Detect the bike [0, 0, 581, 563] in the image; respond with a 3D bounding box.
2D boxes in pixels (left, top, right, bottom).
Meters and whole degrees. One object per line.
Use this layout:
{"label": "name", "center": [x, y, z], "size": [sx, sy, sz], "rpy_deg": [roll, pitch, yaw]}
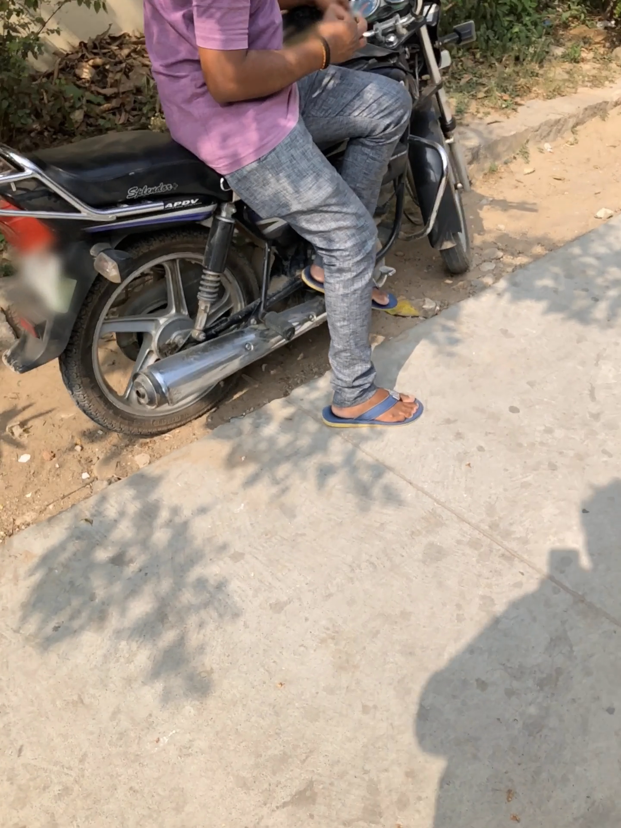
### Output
{"label": "bike", "center": [-0.076, -0.769, 2.097], "size": [0.770, 1.294, 1.768], "rpy_deg": [30, 54, 29]}
